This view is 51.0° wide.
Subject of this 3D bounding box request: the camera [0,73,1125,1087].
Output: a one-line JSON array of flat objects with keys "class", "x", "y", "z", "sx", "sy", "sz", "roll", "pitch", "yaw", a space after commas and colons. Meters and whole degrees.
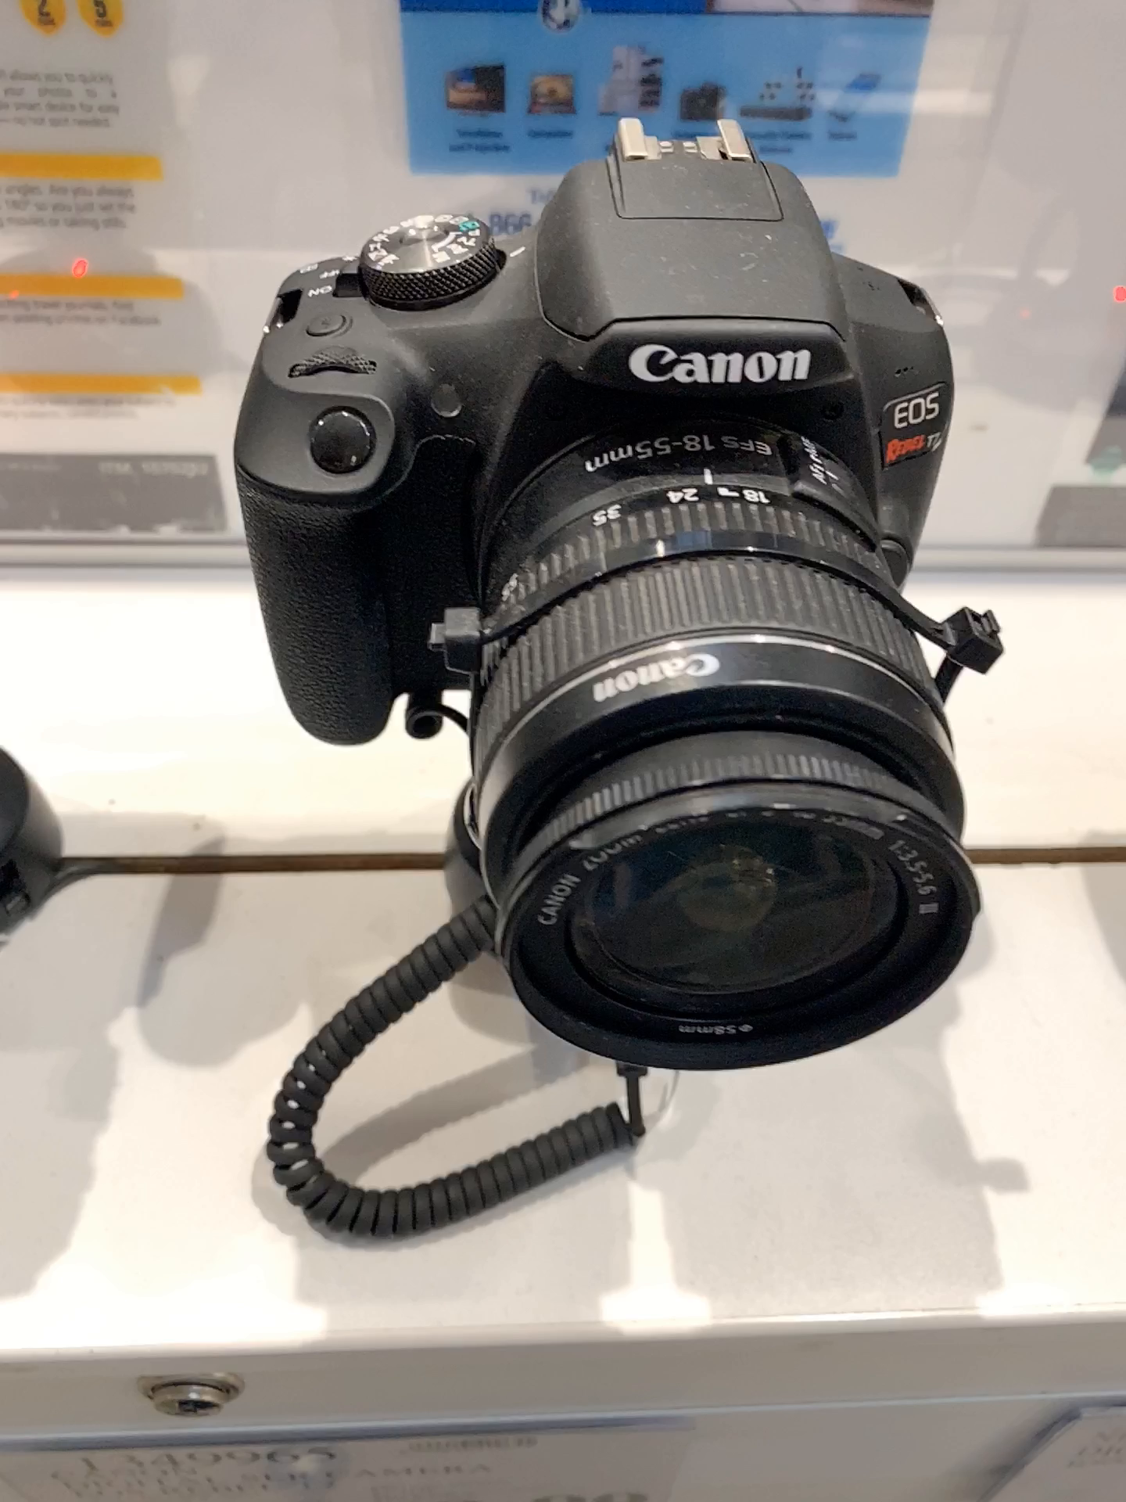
[{"class": "camera", "x": 0.010, "y": -0.035, "z": 0.187, "sx": 0.130, "sy": 0.089, "sz": 0.141, "roll": -1, "pitch": 45, "yaw": -4}]
